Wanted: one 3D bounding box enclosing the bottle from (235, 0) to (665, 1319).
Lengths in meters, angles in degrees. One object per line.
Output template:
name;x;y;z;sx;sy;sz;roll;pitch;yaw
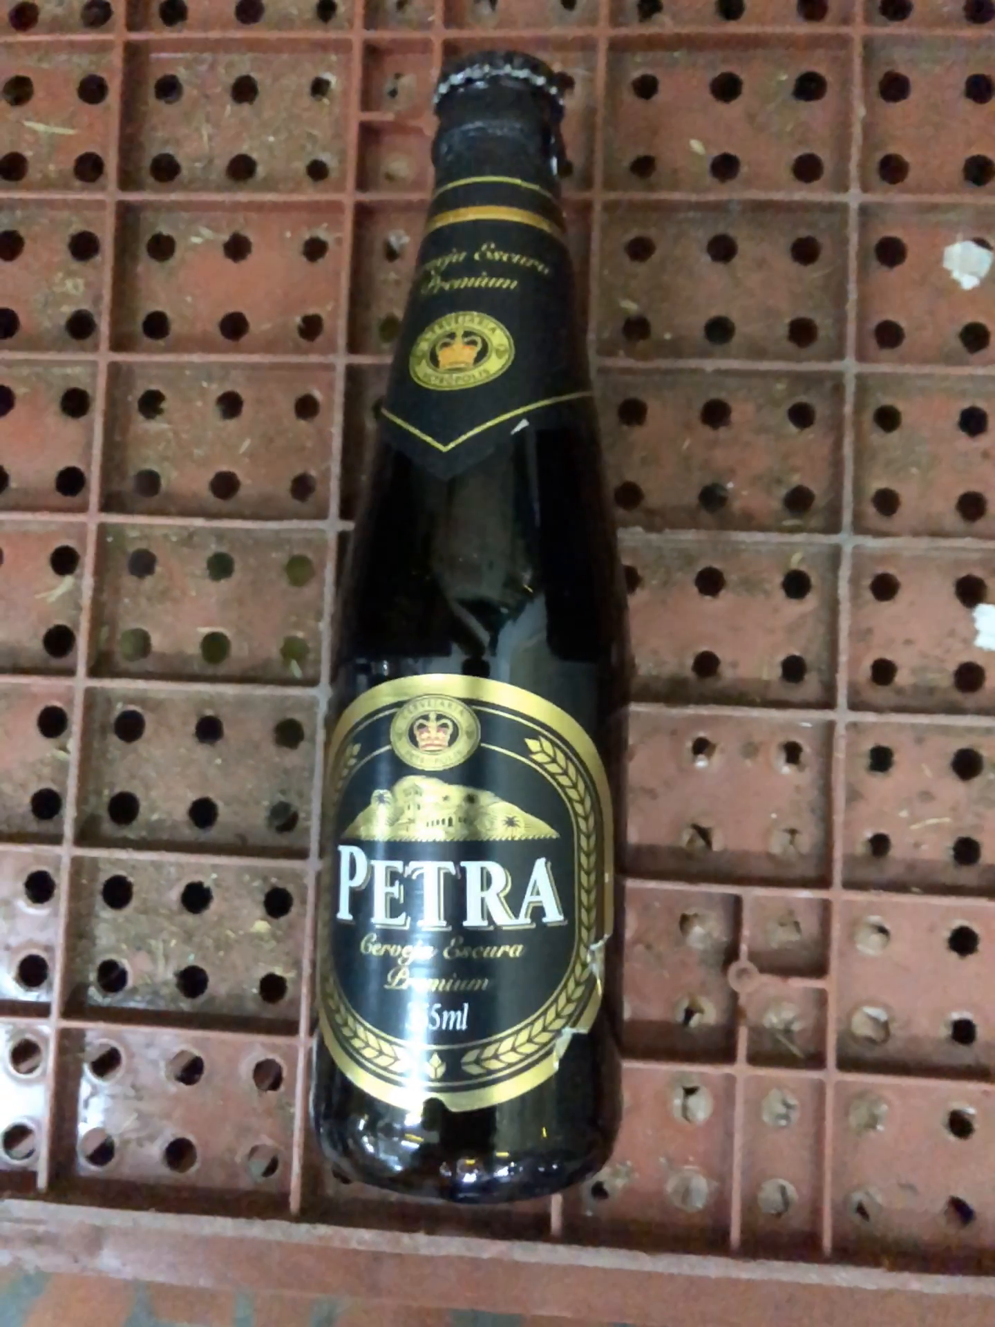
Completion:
bottle;-0.004;-0.017;0.221;0.070;0.060;0.250;0;85;4
